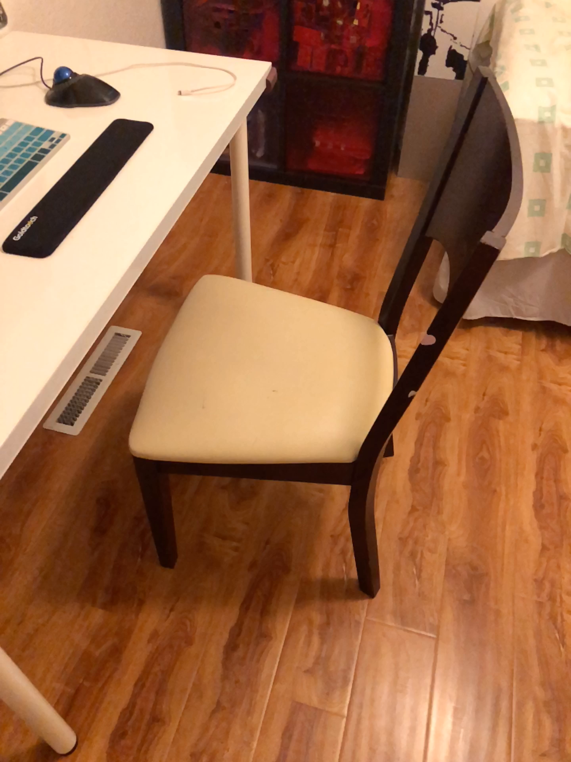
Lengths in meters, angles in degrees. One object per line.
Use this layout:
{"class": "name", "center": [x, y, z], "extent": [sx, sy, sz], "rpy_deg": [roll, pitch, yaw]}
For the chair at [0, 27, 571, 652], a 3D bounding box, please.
{"class": "chair", "center": [0.007, -0.037, 1.134], "extent": [0.660, 0.885, 0.573], "rpy_deg": [10, 47, 8]}
